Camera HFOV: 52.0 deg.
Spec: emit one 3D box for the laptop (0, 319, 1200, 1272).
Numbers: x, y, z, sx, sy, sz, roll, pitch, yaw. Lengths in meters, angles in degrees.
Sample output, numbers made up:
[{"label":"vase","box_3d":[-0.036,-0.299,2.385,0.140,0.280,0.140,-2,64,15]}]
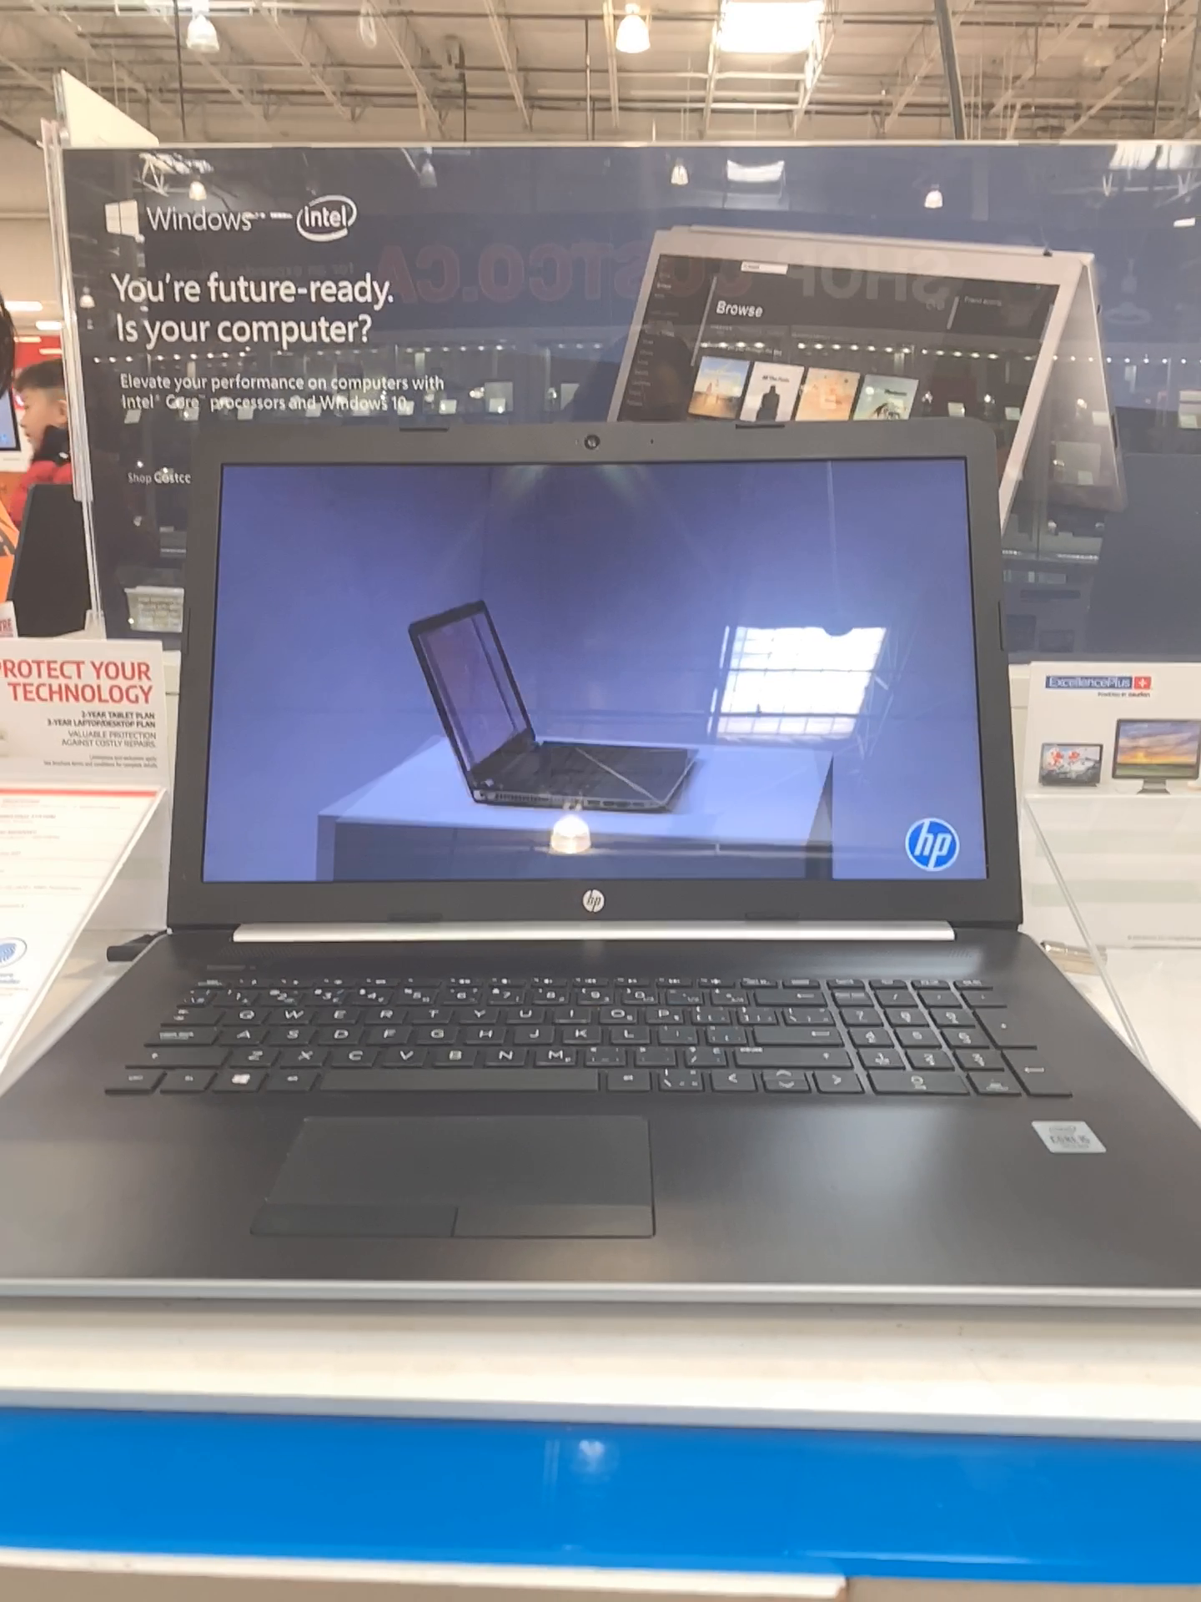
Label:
[{"label":"laptop","box_3d":[0.000,-0.033,0.478,0.394,0.235,0.370,0,13,1]}]
